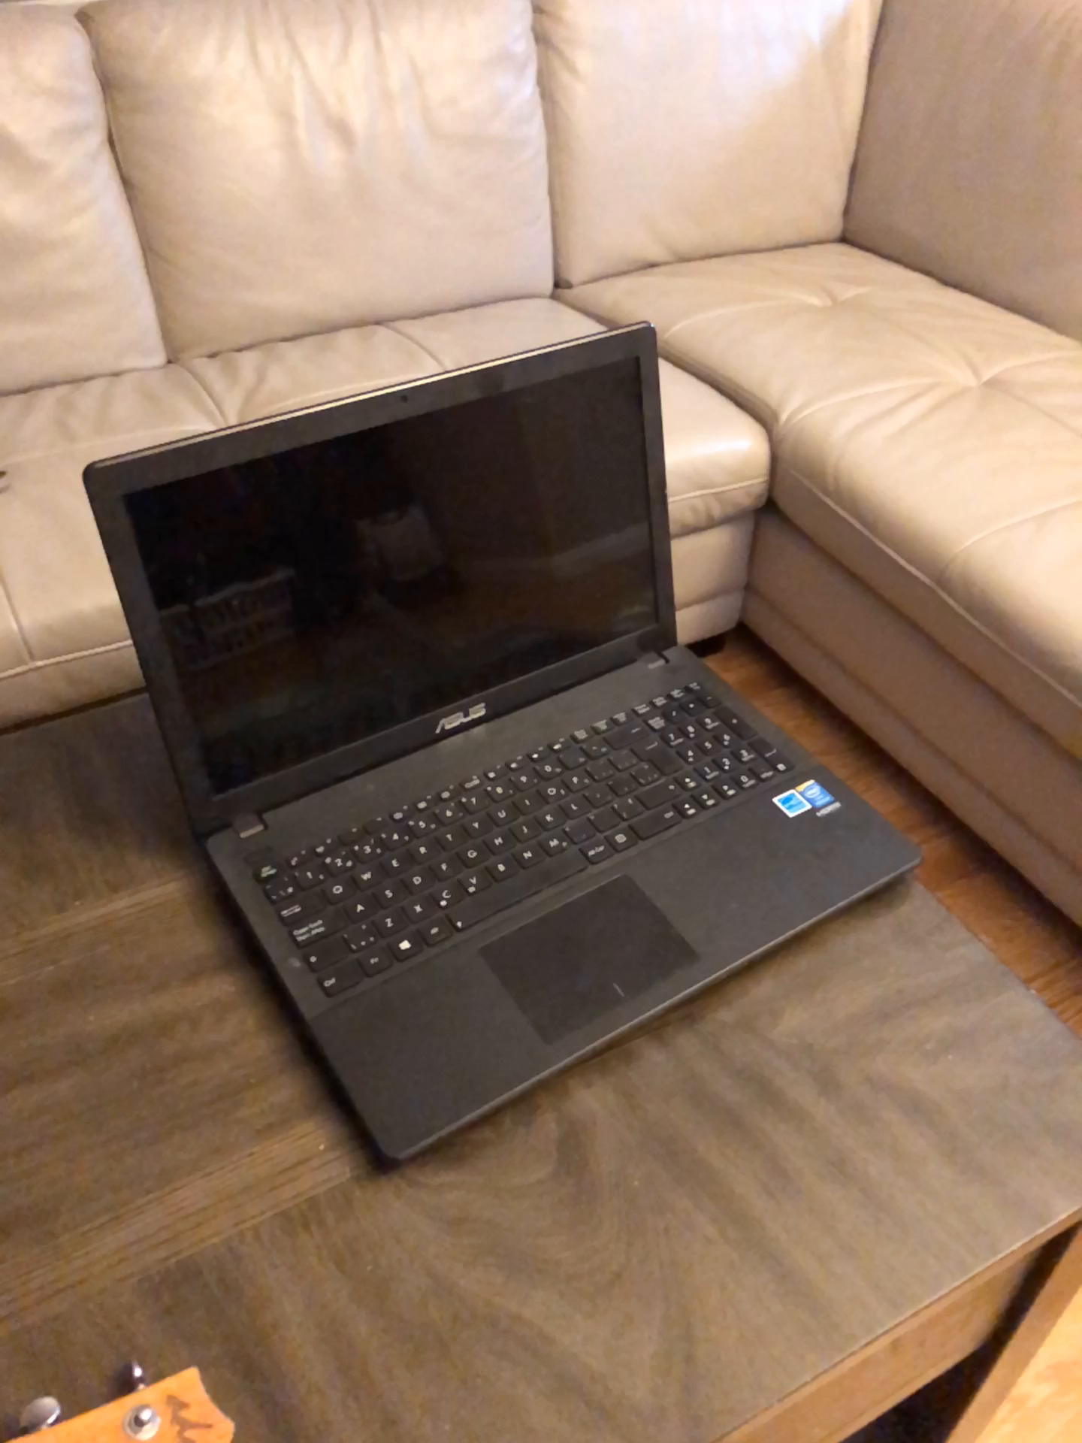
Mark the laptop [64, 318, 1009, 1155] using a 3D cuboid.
[{"bbox_3d":[-0.010,-0.027,0.667,0.356,0.216,0.317,-22,48,-26],"label":"laptop"}]
